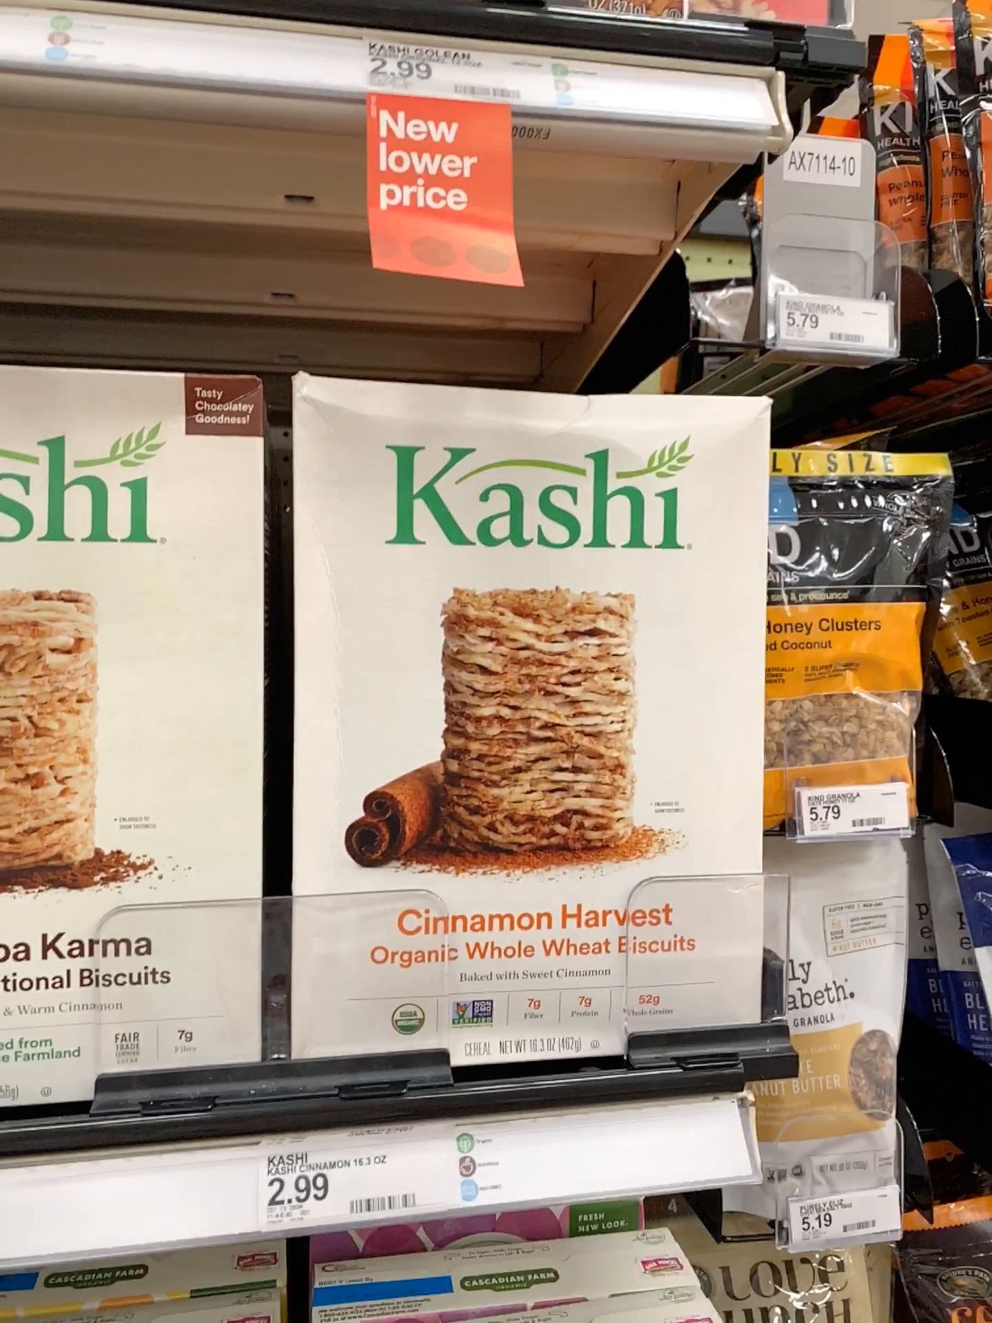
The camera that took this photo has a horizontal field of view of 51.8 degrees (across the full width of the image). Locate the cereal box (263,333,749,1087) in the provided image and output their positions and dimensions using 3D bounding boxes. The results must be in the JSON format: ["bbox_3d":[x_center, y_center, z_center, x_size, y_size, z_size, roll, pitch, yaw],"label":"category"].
[{"bbox_3d":[0.001,0.017,0.430,0.190,0.280,0.070,0,1,-10],"label":"cereal box"}]
